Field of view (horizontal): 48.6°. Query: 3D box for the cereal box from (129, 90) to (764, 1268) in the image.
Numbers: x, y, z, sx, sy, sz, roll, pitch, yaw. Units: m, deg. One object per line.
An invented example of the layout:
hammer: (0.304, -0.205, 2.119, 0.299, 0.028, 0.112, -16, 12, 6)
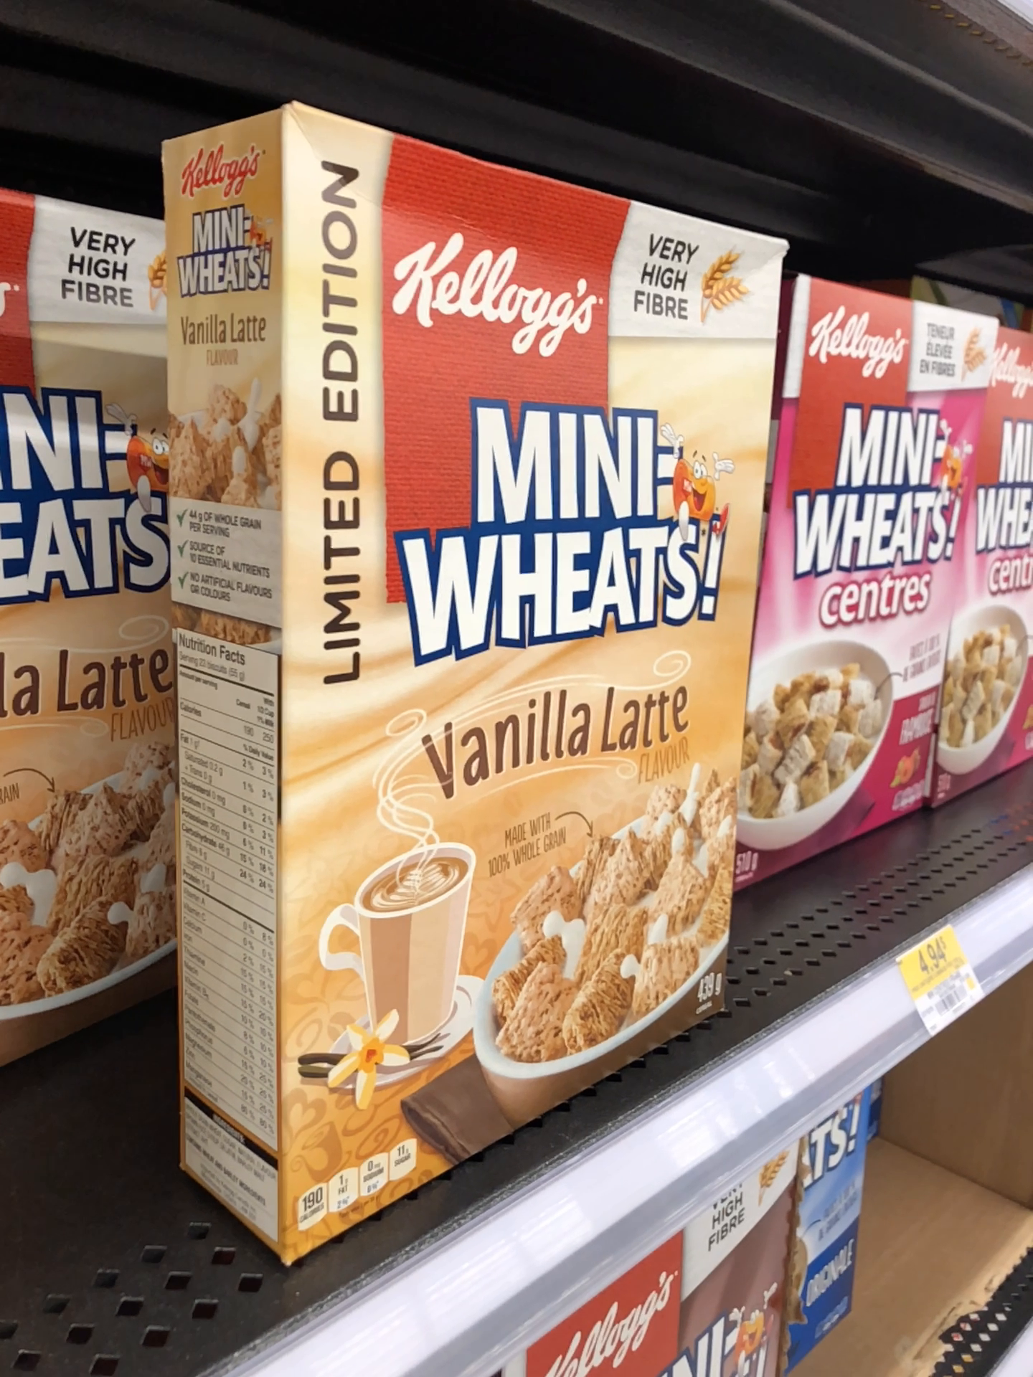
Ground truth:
cereal box: (-0.010, -0.006, 0.354, 0.060, 0.279, 0.190, 12, 16, 43)
